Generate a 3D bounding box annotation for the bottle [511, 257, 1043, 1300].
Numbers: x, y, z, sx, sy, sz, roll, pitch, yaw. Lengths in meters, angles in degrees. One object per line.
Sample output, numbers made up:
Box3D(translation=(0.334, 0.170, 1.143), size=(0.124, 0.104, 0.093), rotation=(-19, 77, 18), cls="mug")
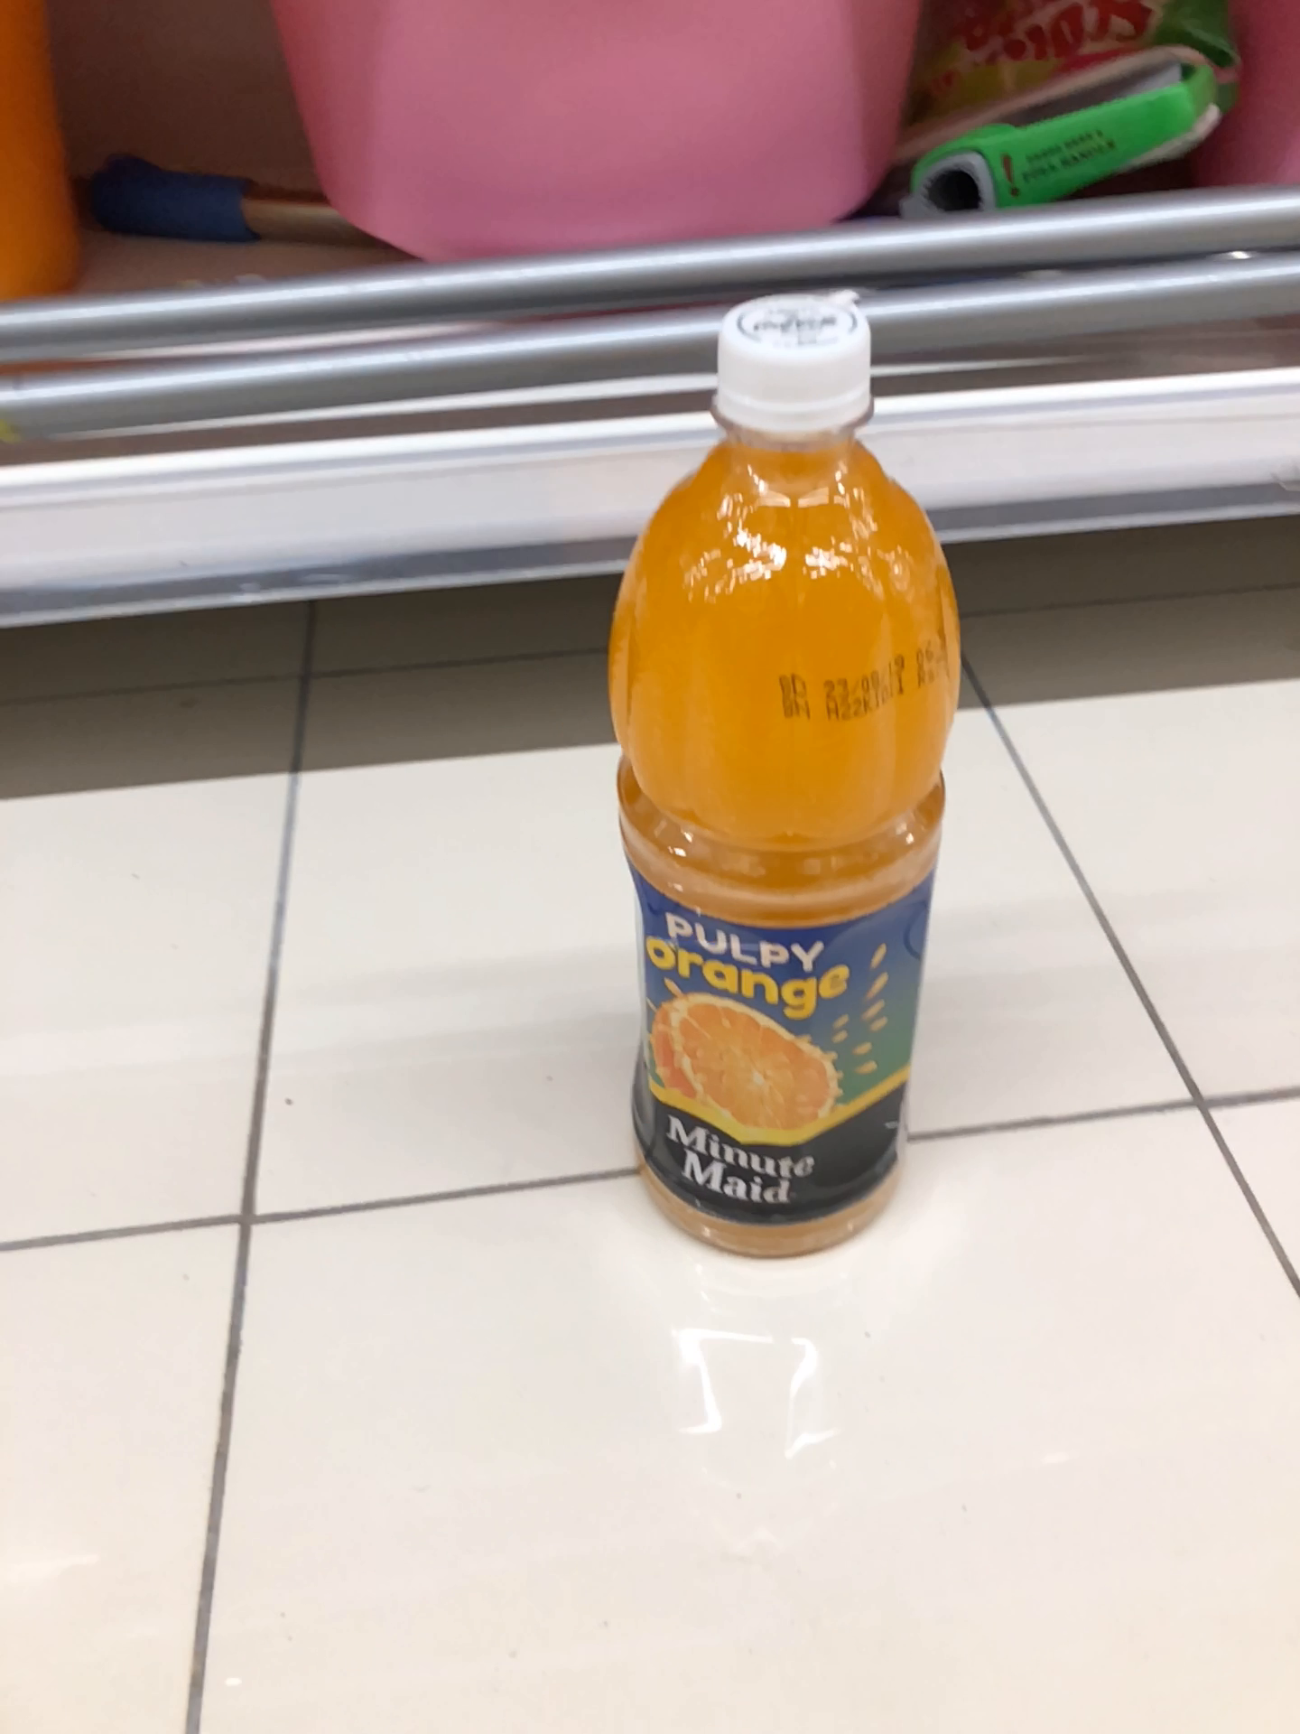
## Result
Box3D(translation=(0.034, -0.009, 0.359), size=(0.090, 0.245, 0.091), rotation=(-2, 40, 1), cls="bottle")
